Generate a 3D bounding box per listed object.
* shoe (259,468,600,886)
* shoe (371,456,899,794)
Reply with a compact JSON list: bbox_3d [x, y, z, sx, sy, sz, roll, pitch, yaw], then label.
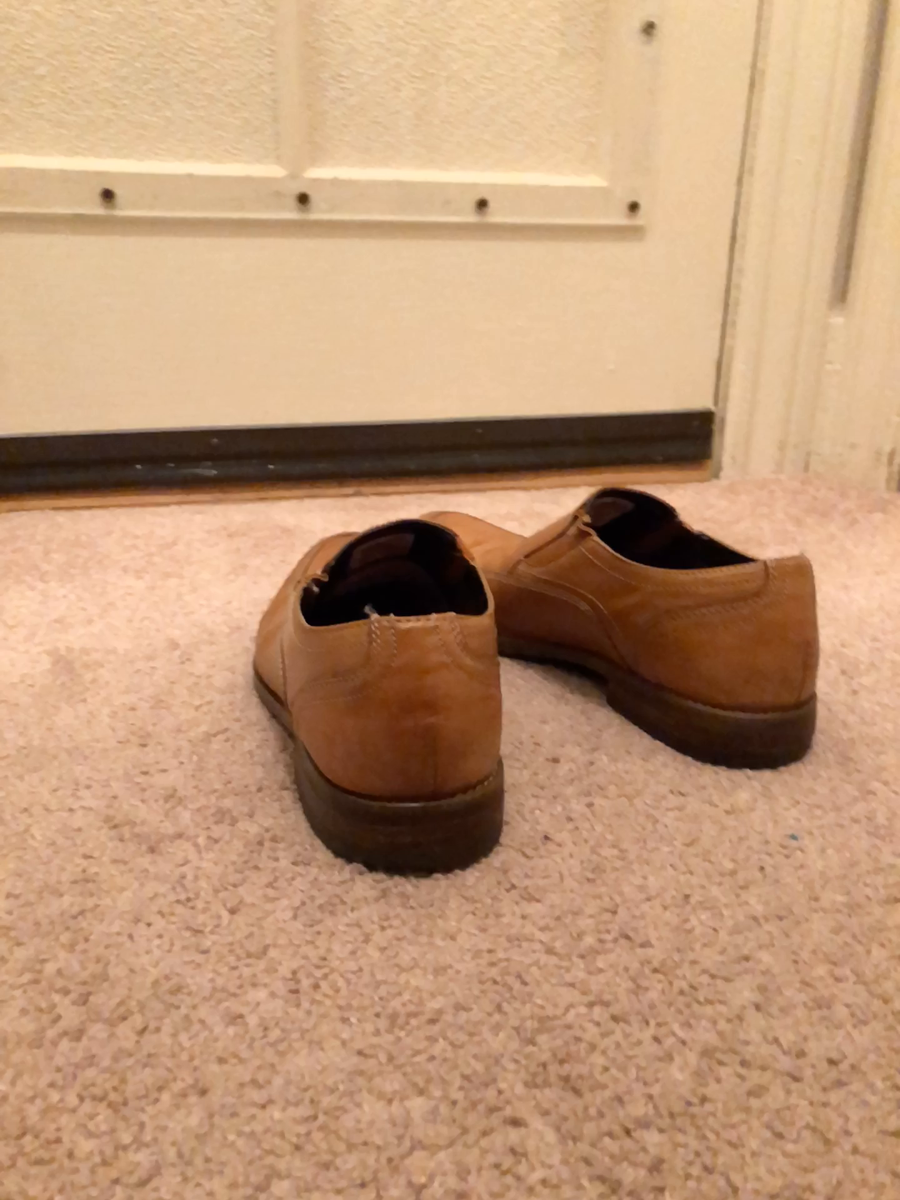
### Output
[{"bbox_3d":[-0.034,0.006,0.487,0.100,0.090,0.321,-3,17,-12],"label":"shoe"},{"bbox_3d":[0.077,-0.010,0.547,0.107,0.089,0.311,-11,20,-30],"label":"shoe"}]
